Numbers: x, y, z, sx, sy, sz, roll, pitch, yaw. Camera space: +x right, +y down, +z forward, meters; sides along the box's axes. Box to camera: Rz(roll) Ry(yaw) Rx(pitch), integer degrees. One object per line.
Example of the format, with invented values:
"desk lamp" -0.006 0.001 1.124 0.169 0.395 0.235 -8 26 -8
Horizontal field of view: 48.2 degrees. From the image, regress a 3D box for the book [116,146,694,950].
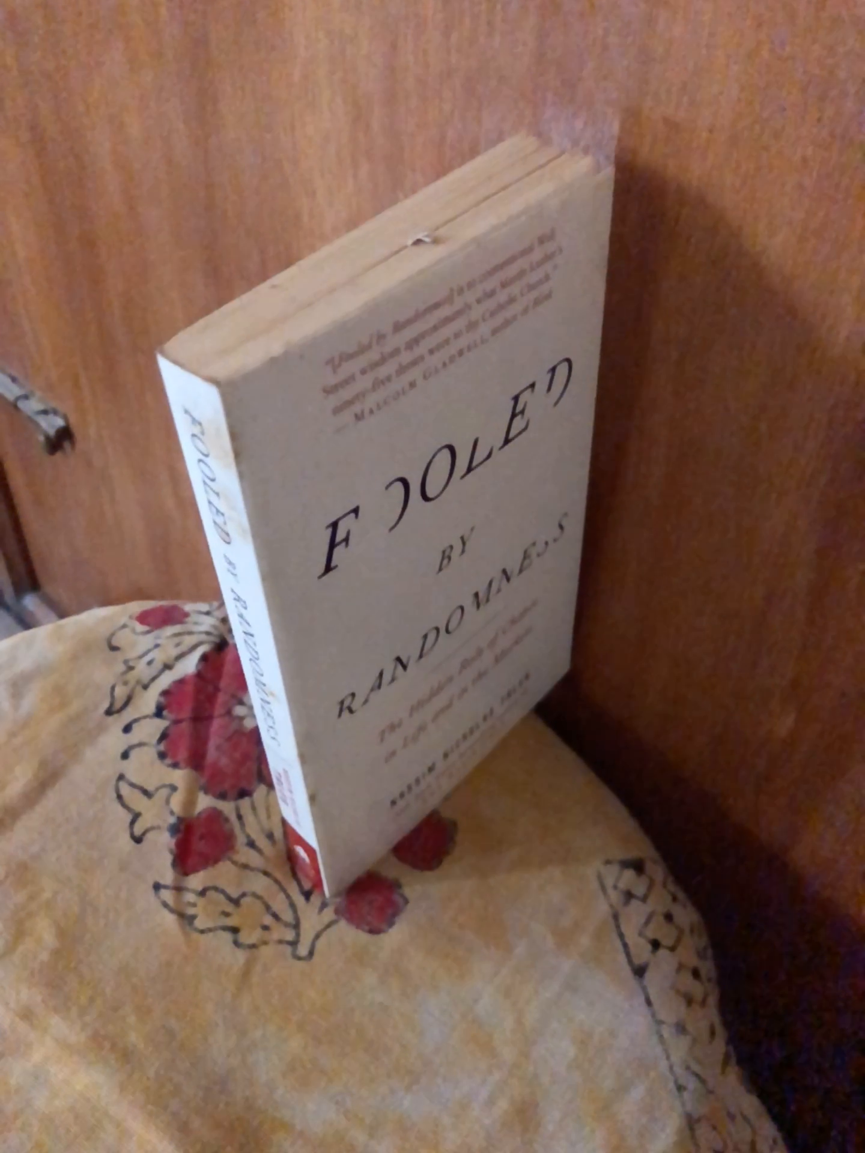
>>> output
"book" -0.001 -0.005 0.294 0.040 0.199 0.161 31 48 27
